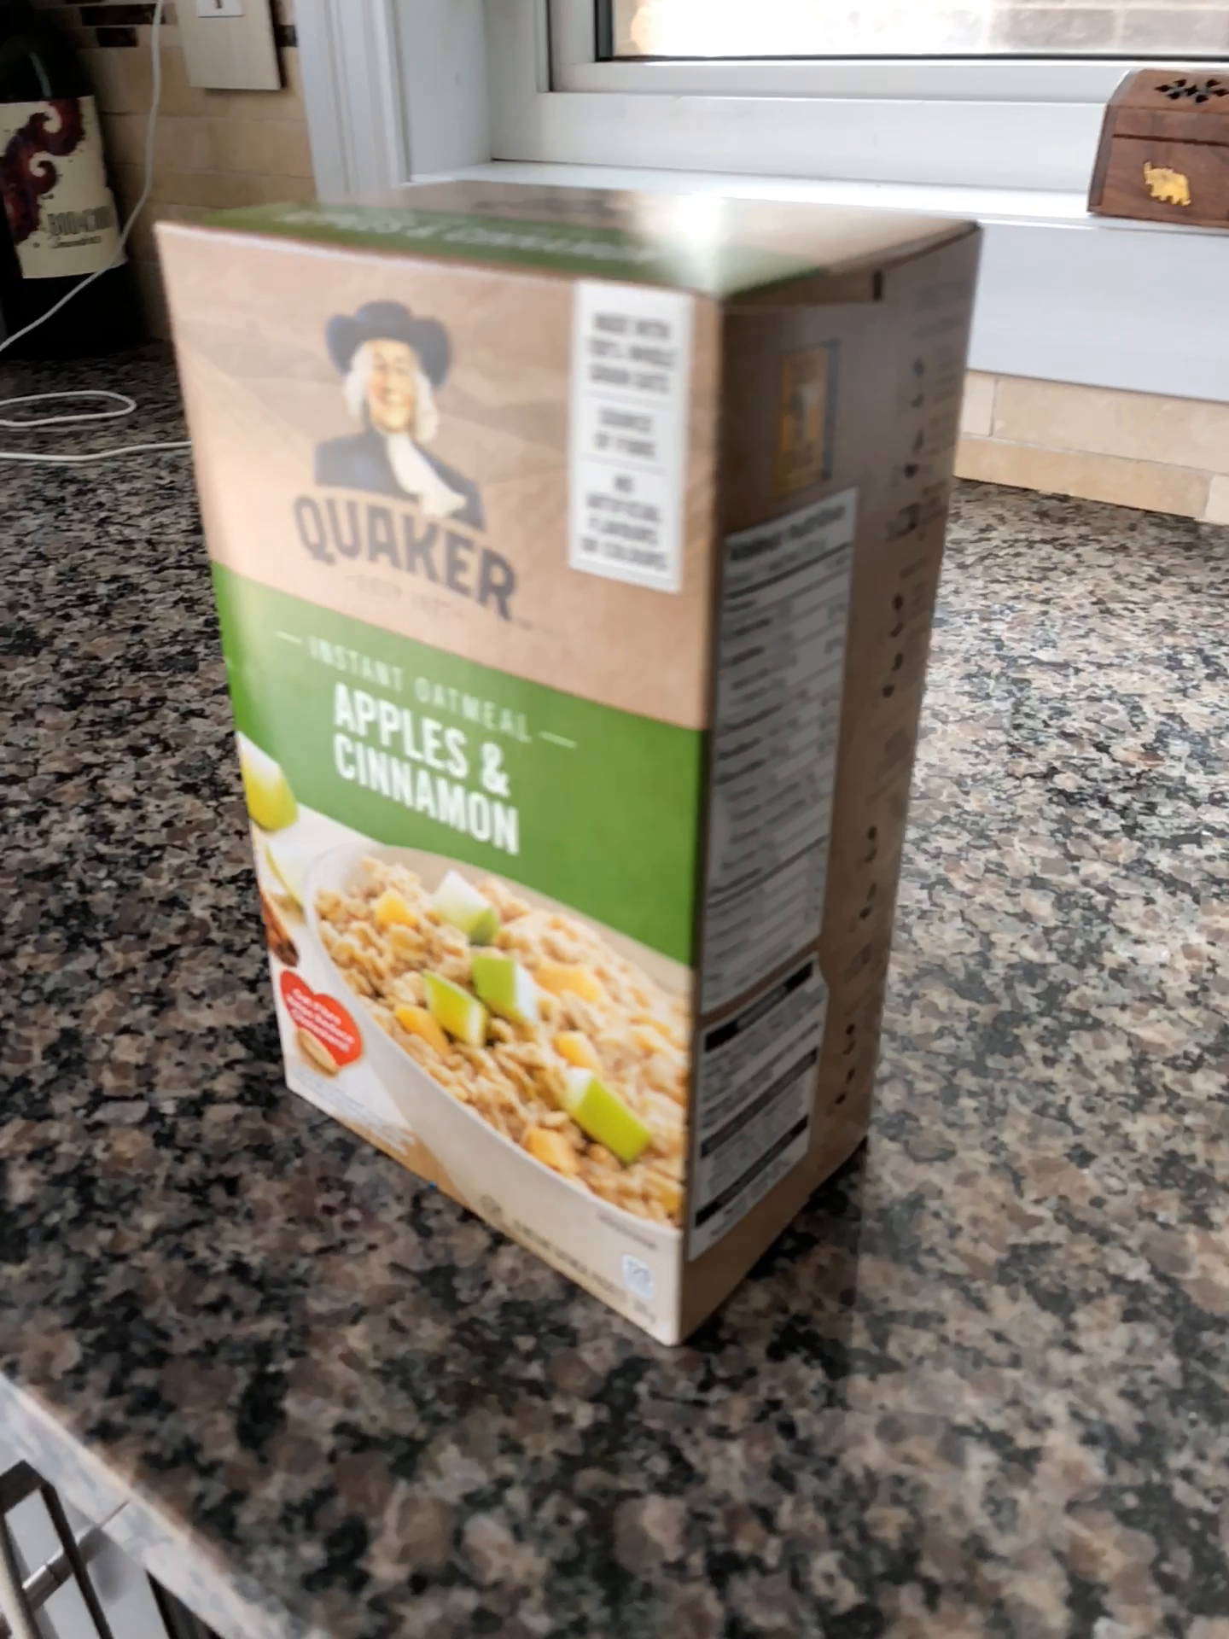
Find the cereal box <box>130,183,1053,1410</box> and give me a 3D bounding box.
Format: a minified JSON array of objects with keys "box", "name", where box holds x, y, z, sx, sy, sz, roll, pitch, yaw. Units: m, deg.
[{"box":[-0.004,-0.010,0.285,0.130,0.209,0.090,23,38,34],"name":"cereal box"}]
